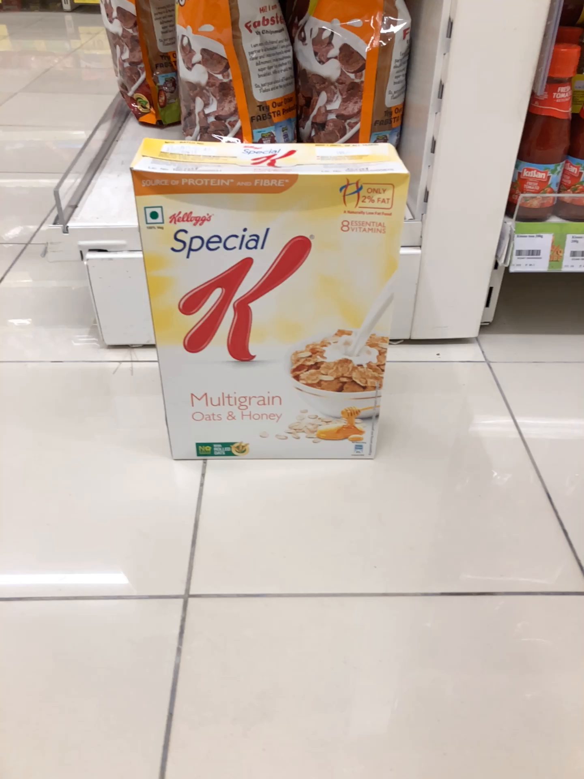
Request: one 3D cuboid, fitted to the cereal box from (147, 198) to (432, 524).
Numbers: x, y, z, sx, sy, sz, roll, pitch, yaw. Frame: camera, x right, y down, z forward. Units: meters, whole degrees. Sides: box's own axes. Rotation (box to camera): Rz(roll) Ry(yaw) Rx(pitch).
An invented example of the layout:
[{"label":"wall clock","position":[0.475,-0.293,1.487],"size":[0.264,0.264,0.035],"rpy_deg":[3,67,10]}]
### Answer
[{"label":"cereal box","position":[-0.001,-0.013,0.530],"size":[0.190,0.268,0.070],"rpy_deg":[-1,34,-1]}]
